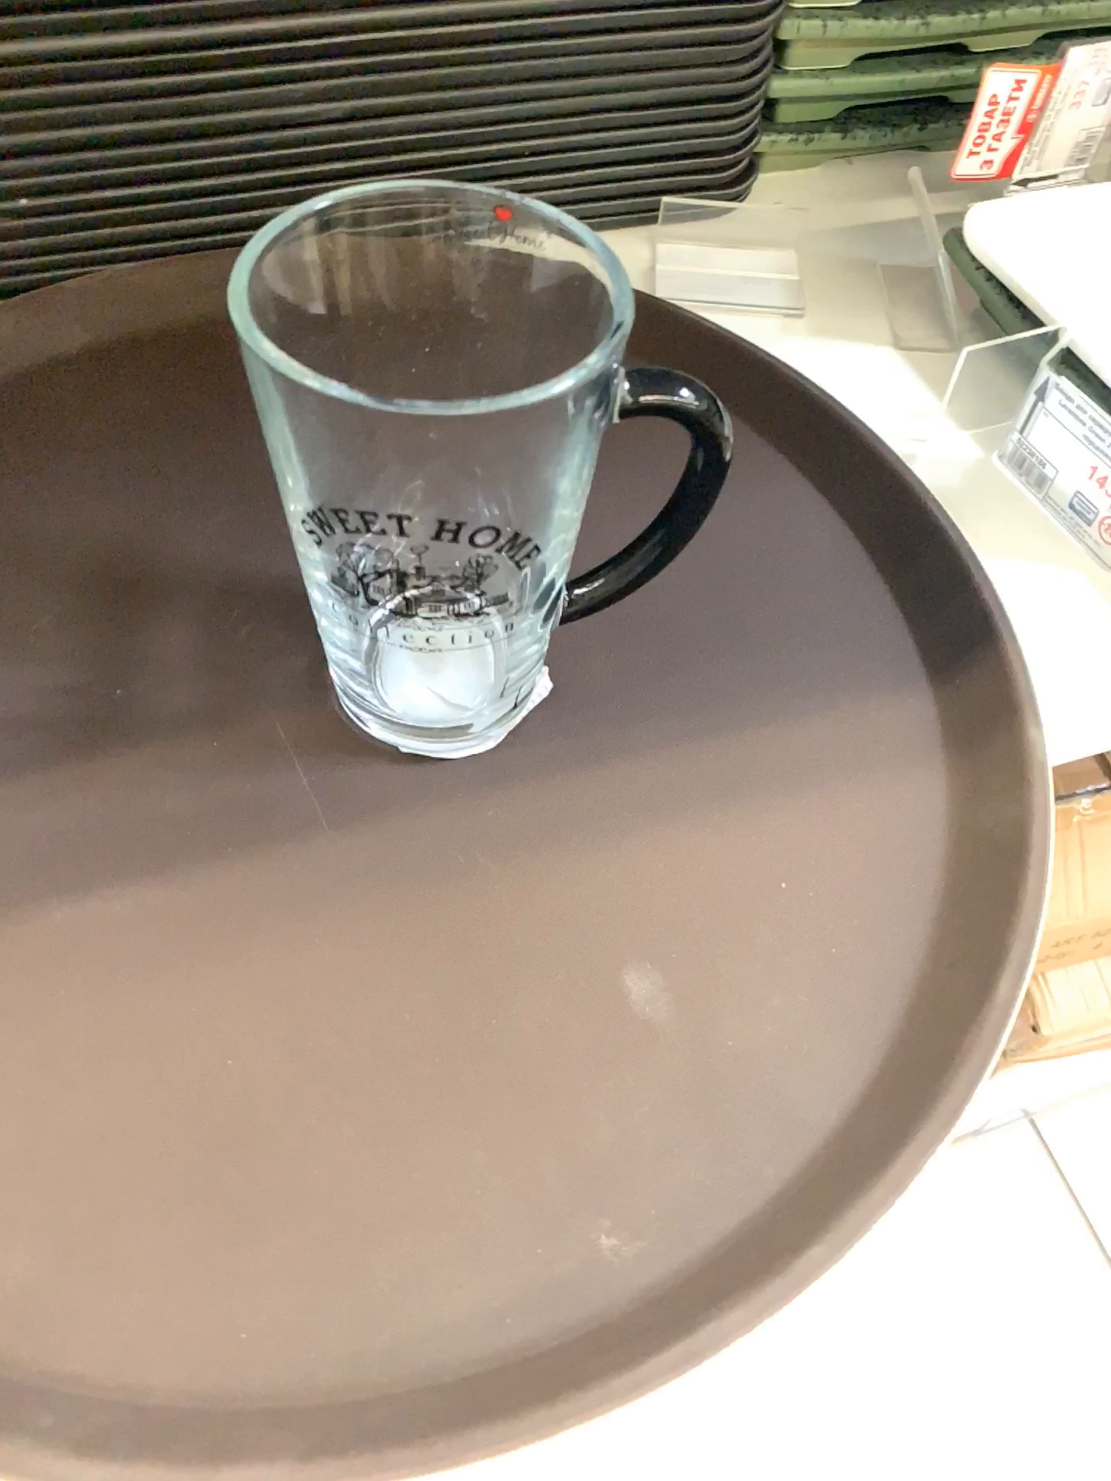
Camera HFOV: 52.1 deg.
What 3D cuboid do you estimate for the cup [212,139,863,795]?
[{"bbox_3d":[-0.012,-0.064,0.281,0.120,0.120,0.090,-6,54,-8],"label":"cup"}]
